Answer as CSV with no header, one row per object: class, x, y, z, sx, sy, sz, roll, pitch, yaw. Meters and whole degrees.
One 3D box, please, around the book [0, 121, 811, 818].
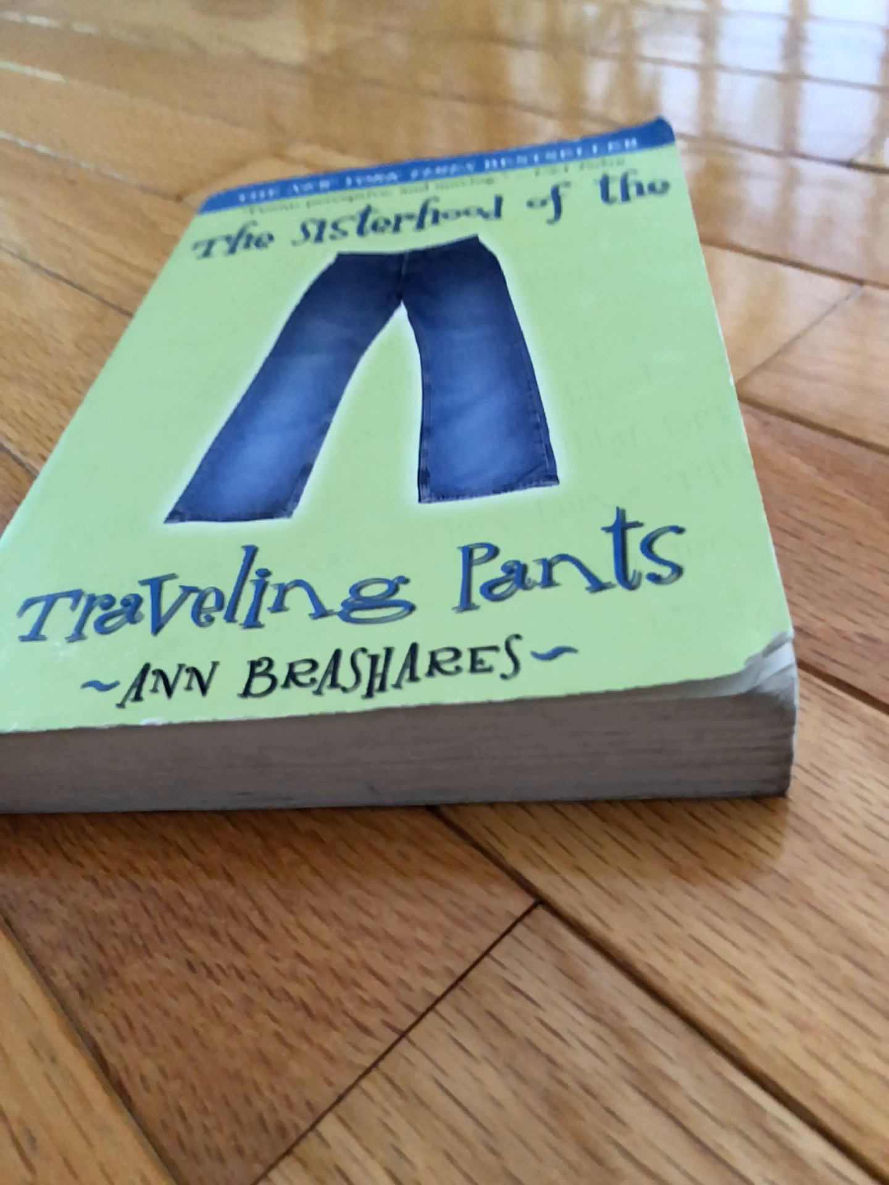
book,-0.013,-0.047,0.220,0.141,0.025,0.210,-3,42,10
